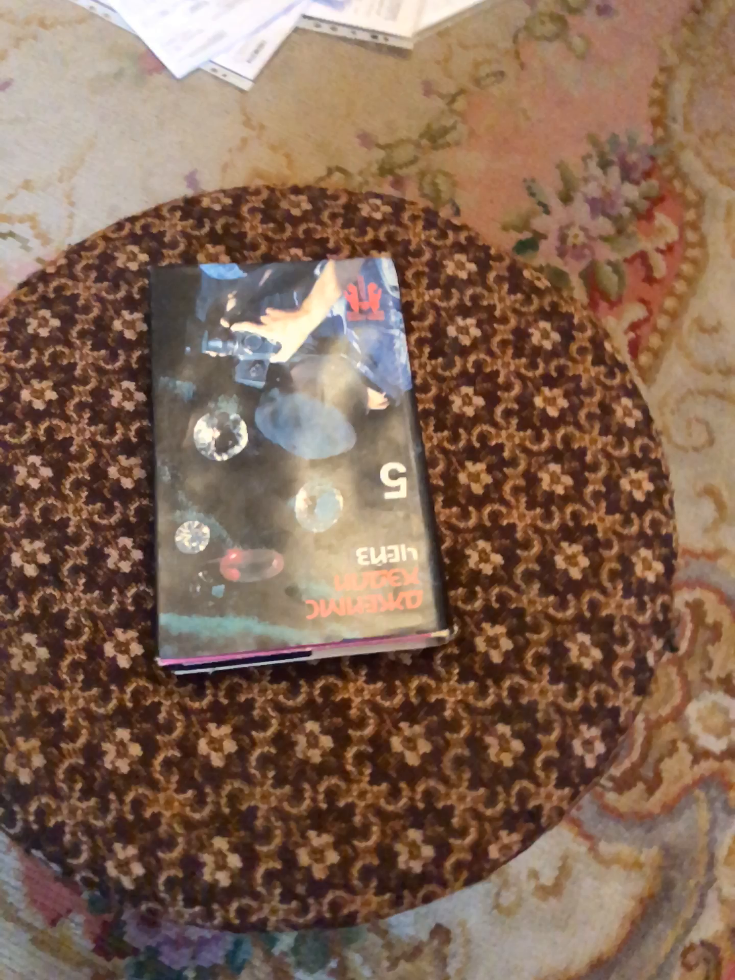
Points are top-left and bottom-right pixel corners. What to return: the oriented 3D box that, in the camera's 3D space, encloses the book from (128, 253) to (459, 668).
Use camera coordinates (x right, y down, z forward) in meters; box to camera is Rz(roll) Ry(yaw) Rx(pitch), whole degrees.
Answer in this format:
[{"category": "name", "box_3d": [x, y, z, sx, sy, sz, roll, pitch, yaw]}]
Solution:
[{"category": "book", "box_3d": [-0.041, -0.024, 0.393, 0.140, 0.020, 0.206, -4, 66, -5]}]
